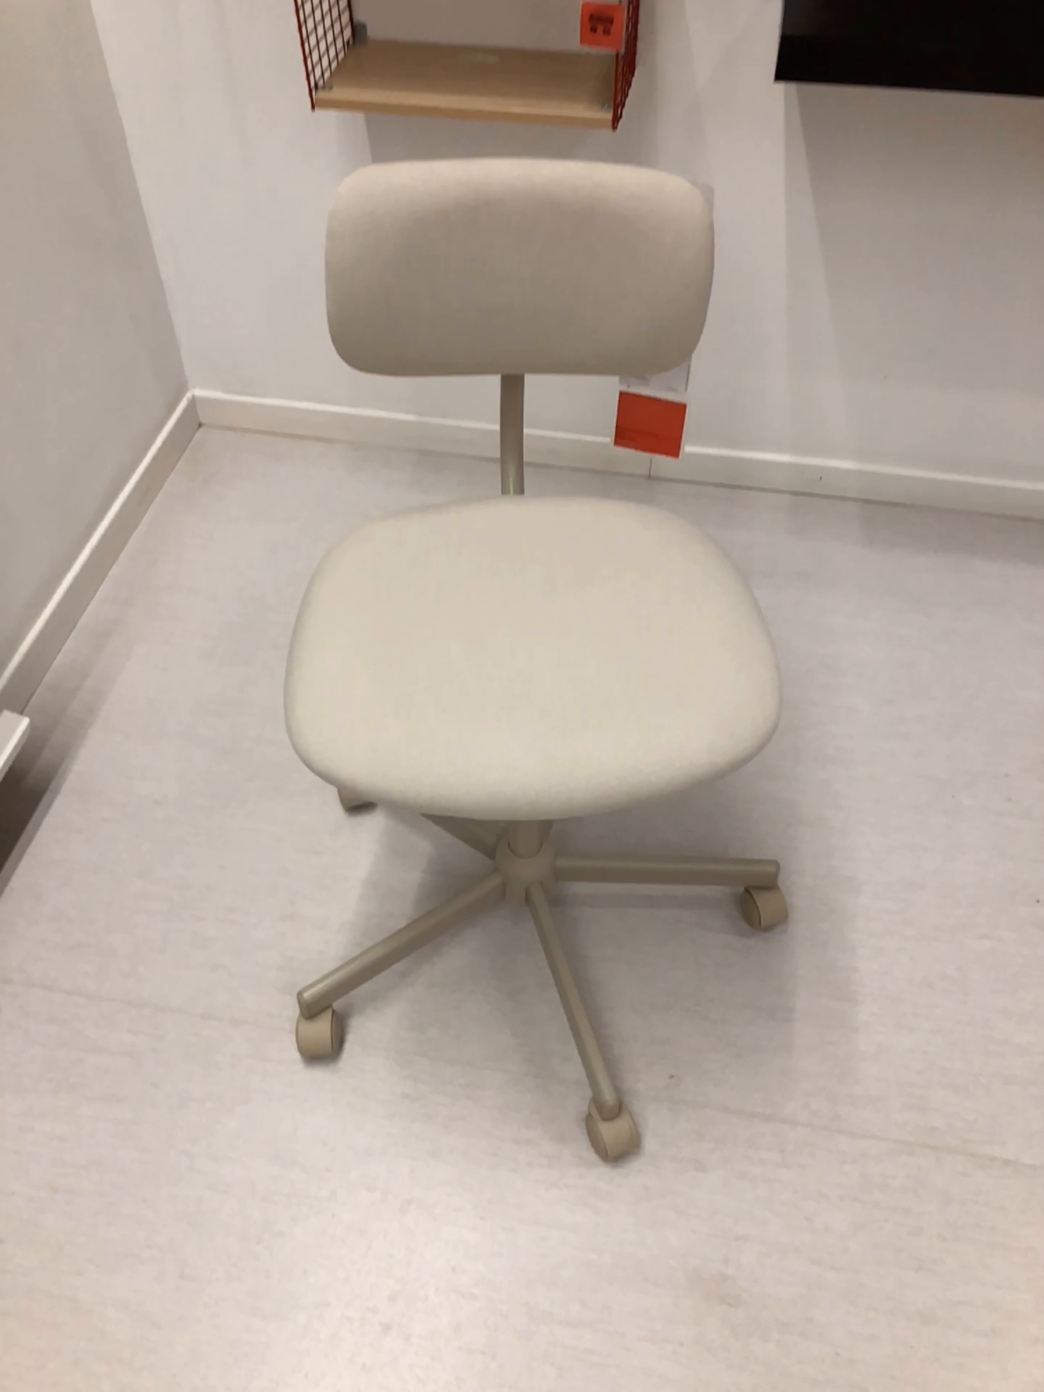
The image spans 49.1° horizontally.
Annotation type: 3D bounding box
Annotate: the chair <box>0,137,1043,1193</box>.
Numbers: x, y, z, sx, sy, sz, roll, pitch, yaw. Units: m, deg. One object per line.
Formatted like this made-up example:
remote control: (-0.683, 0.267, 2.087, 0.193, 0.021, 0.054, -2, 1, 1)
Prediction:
chair: (0.018, -0.007, 1.139, 0.640, 0.766, 0.694, -2, 49, -1)
